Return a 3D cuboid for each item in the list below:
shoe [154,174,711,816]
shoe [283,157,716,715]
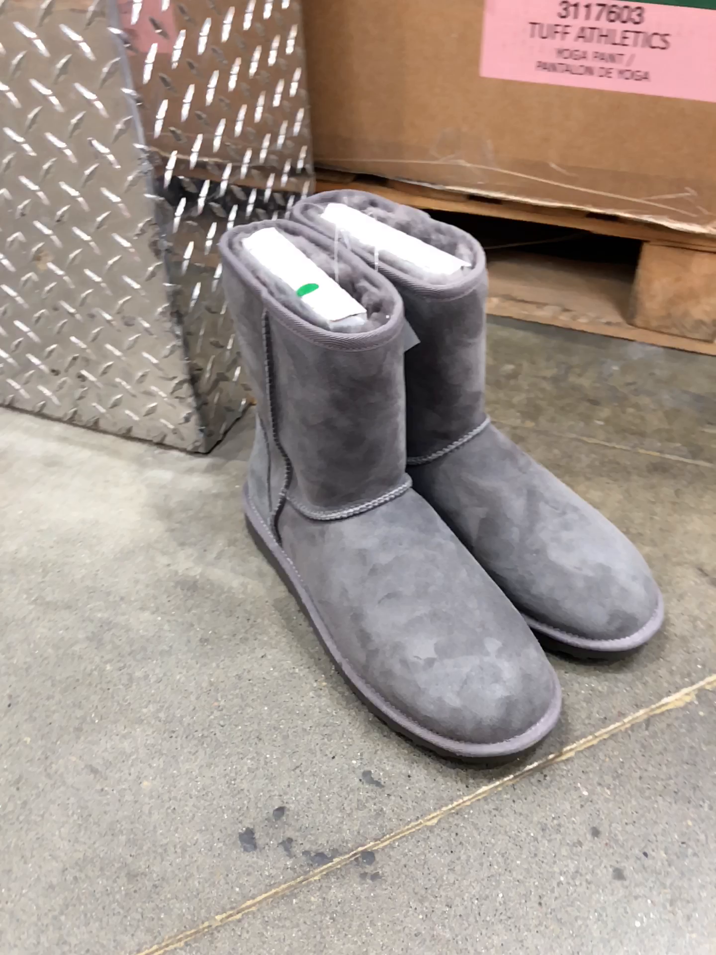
[{"bbox_3d":[0.018,-0.003,0.466,0.120,0.239,0.281,-26,47,-25],"label":"shoe"},{"bbox_3d":[0.093,-0.035,0.503,0.110,0.239,0.271,-34,50,-31],"label":"shoe"}]
